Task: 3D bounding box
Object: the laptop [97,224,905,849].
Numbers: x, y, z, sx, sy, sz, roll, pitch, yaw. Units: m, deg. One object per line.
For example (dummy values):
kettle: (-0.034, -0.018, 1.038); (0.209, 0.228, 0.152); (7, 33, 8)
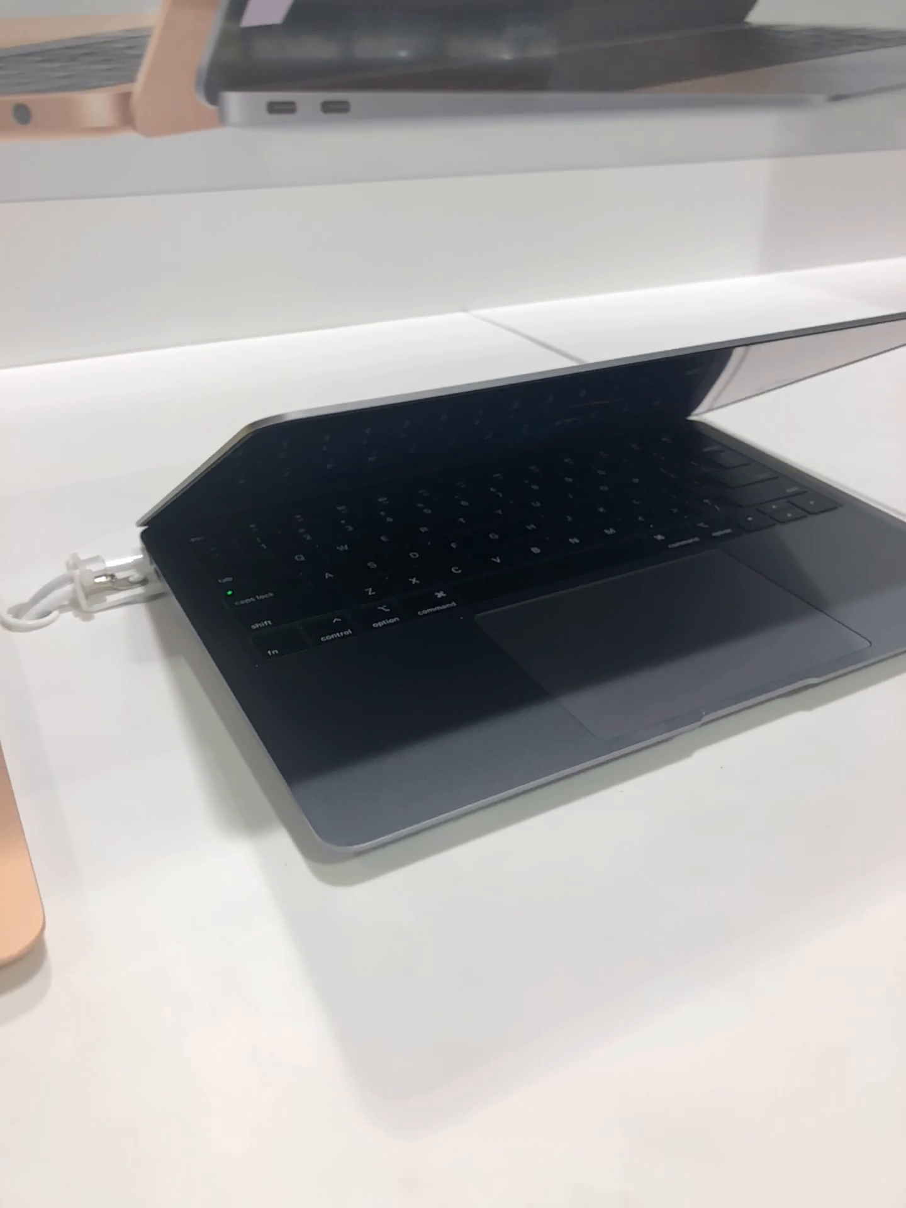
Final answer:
laptop: (0.046, -0.060, 0.373); (0.289, 0.102, 0.199); (-15, 34, -26)
